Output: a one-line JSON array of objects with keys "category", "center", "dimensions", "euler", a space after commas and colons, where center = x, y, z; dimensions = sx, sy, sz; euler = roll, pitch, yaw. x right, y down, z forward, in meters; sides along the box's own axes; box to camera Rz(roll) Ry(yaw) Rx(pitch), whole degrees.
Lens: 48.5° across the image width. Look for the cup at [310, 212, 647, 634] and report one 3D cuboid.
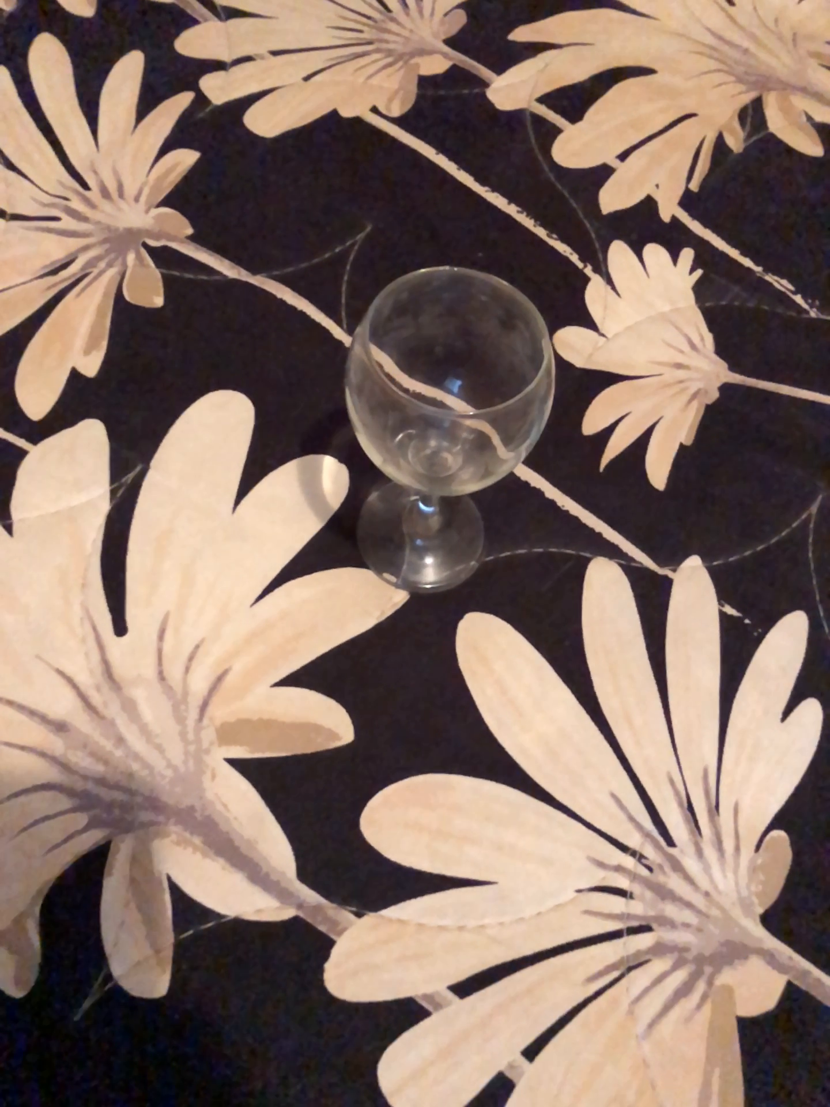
[{"category": "cup", "center": [0.015, -0.045, 0.373], "dimensions": [0.084, 0.139, 0.082], "euler": [2, 64, -5]}]
